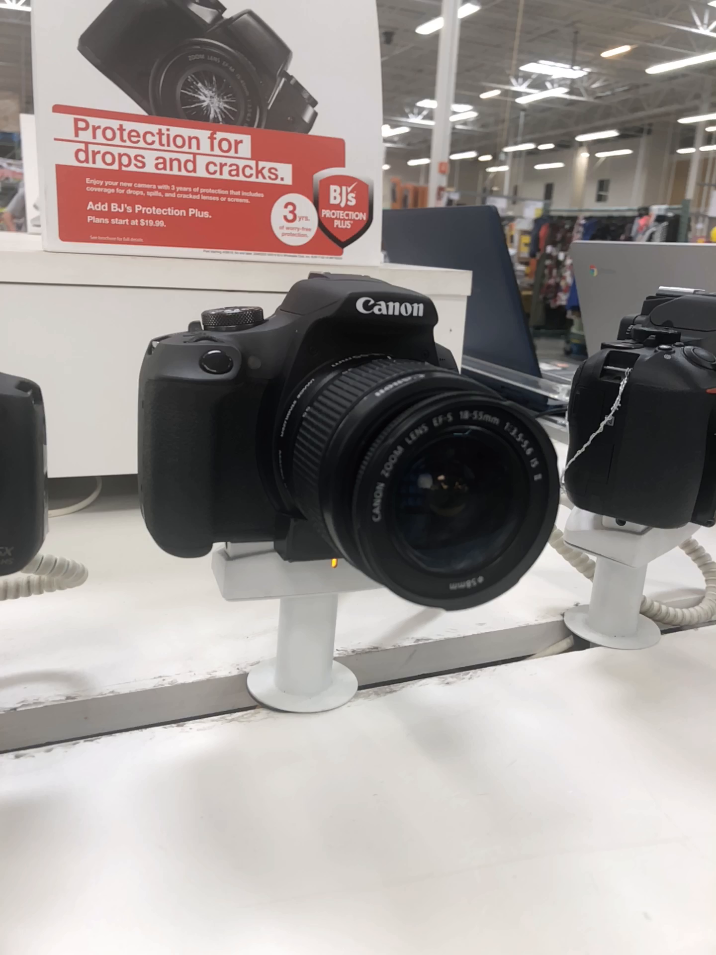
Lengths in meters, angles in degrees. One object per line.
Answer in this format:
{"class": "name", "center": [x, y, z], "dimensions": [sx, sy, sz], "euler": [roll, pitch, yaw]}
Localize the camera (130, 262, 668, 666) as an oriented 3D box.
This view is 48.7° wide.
{"class": "camera", "center": [0.000, -0.020, 0.271], "dimensions": [0.130, 0.092, 0.132], "euler": [-4, 18, -24]}
